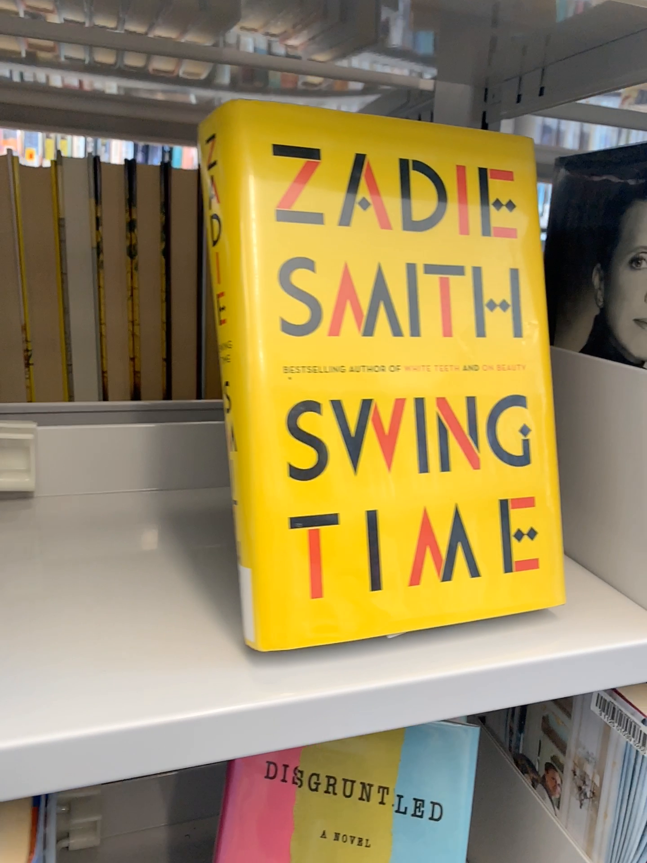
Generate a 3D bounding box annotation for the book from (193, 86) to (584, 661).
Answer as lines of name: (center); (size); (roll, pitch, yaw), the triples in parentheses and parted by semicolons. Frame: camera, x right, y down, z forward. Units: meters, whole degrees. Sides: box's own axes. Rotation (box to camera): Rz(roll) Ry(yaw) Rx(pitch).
book: (0.031, -0.028, 0.328); (0.168, 0.233, 0.060); (-2, -3, -21)
